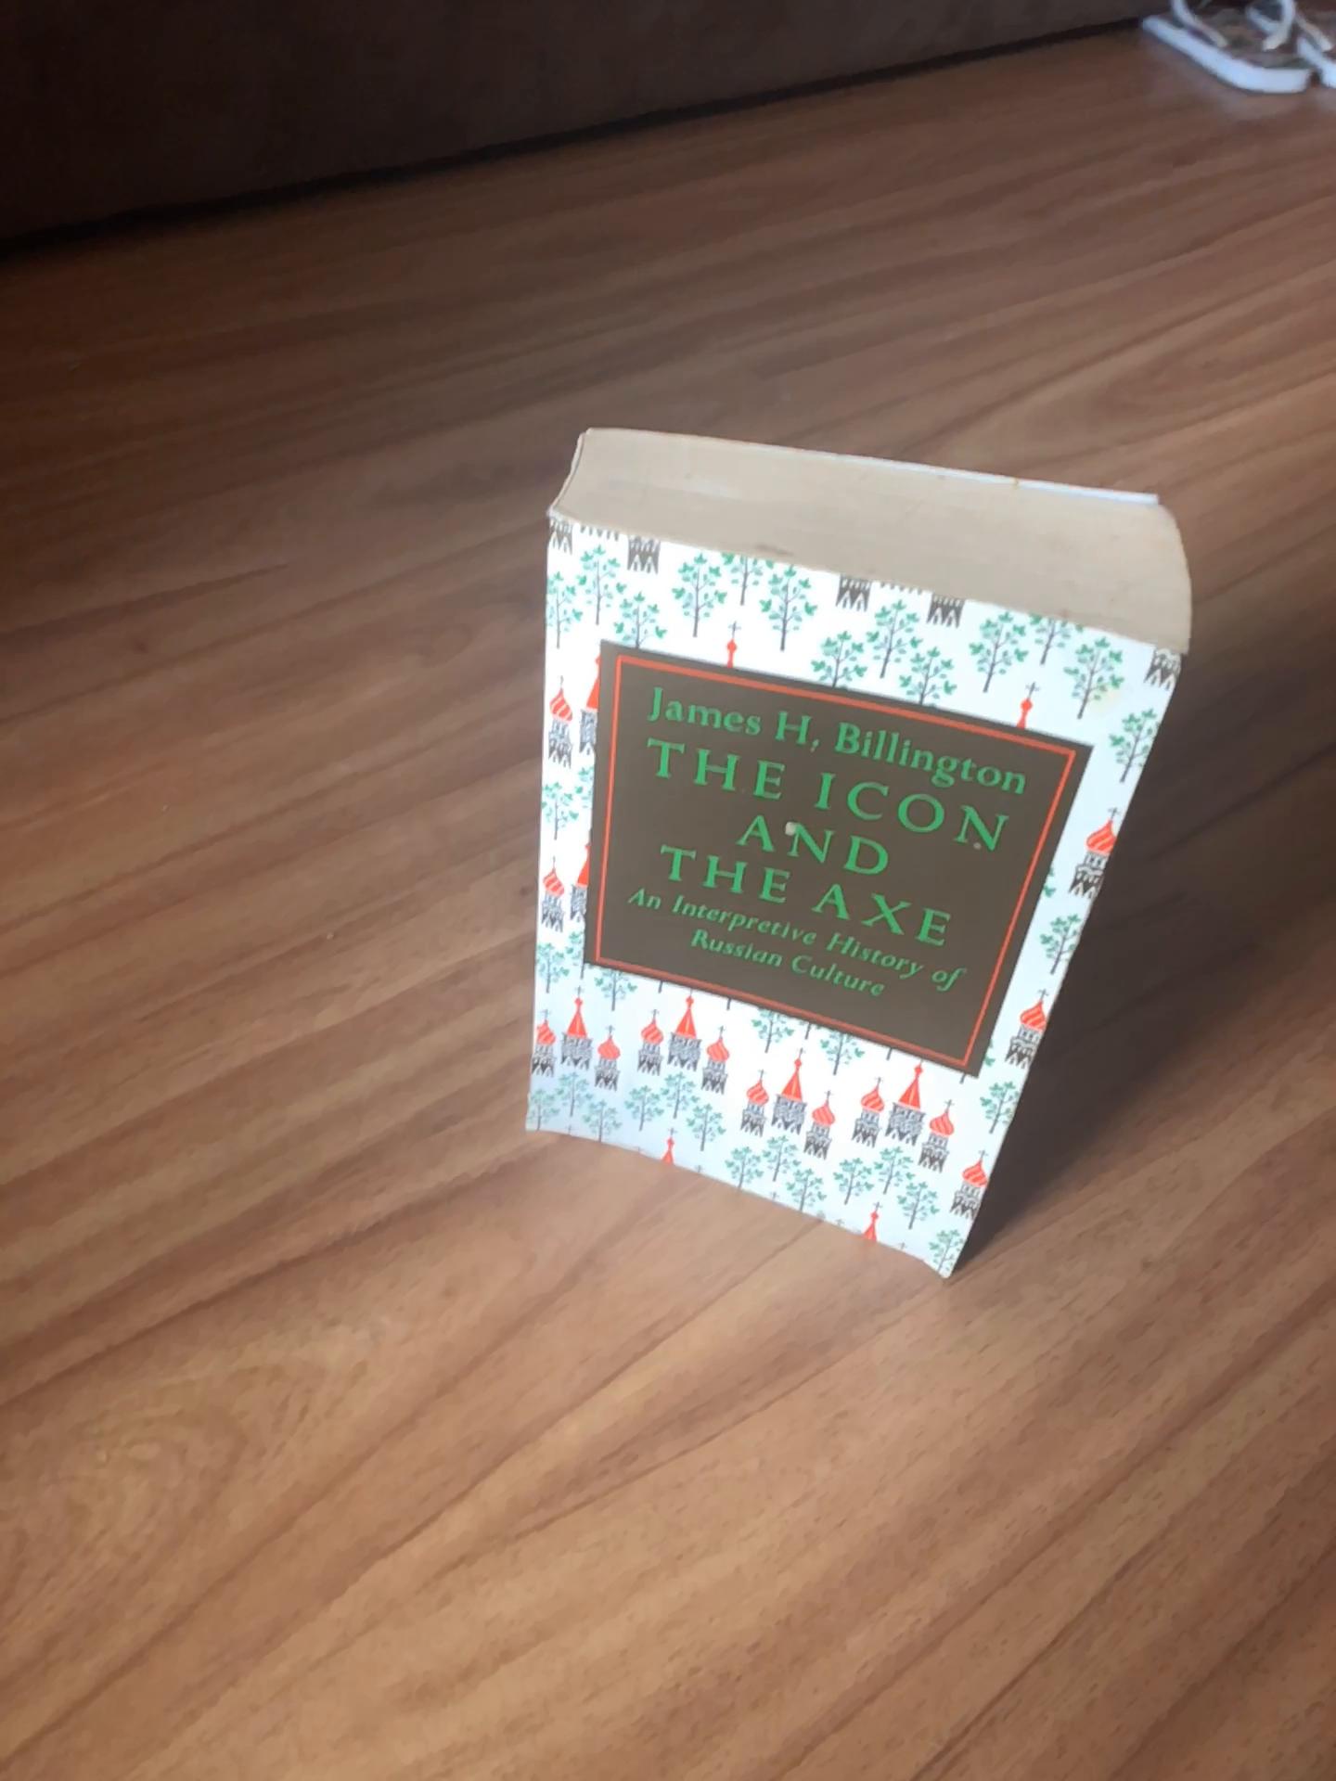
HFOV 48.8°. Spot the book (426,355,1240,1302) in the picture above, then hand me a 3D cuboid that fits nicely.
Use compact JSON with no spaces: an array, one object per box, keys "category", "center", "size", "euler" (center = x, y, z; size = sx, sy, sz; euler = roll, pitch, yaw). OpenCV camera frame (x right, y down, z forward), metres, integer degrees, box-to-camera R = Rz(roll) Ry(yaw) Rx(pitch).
[{"category":"book","center":[0.027,-0.005,0.354],"size":[0.150,0.199,0.060],"euler":[16,42,11]}]
